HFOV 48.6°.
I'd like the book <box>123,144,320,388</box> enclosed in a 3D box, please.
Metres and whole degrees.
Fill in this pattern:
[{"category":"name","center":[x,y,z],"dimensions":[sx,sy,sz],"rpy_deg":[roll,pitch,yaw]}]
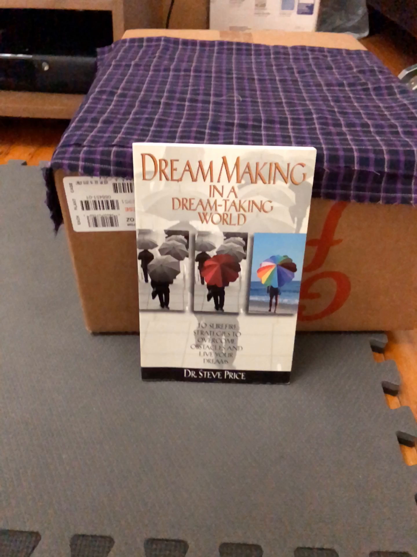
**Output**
[{"category":"book","center":[0.009,-0.002,0.405],"dimensions":[0.150,0.219,0.020],"rpy_deg":[1,24,2]}]
